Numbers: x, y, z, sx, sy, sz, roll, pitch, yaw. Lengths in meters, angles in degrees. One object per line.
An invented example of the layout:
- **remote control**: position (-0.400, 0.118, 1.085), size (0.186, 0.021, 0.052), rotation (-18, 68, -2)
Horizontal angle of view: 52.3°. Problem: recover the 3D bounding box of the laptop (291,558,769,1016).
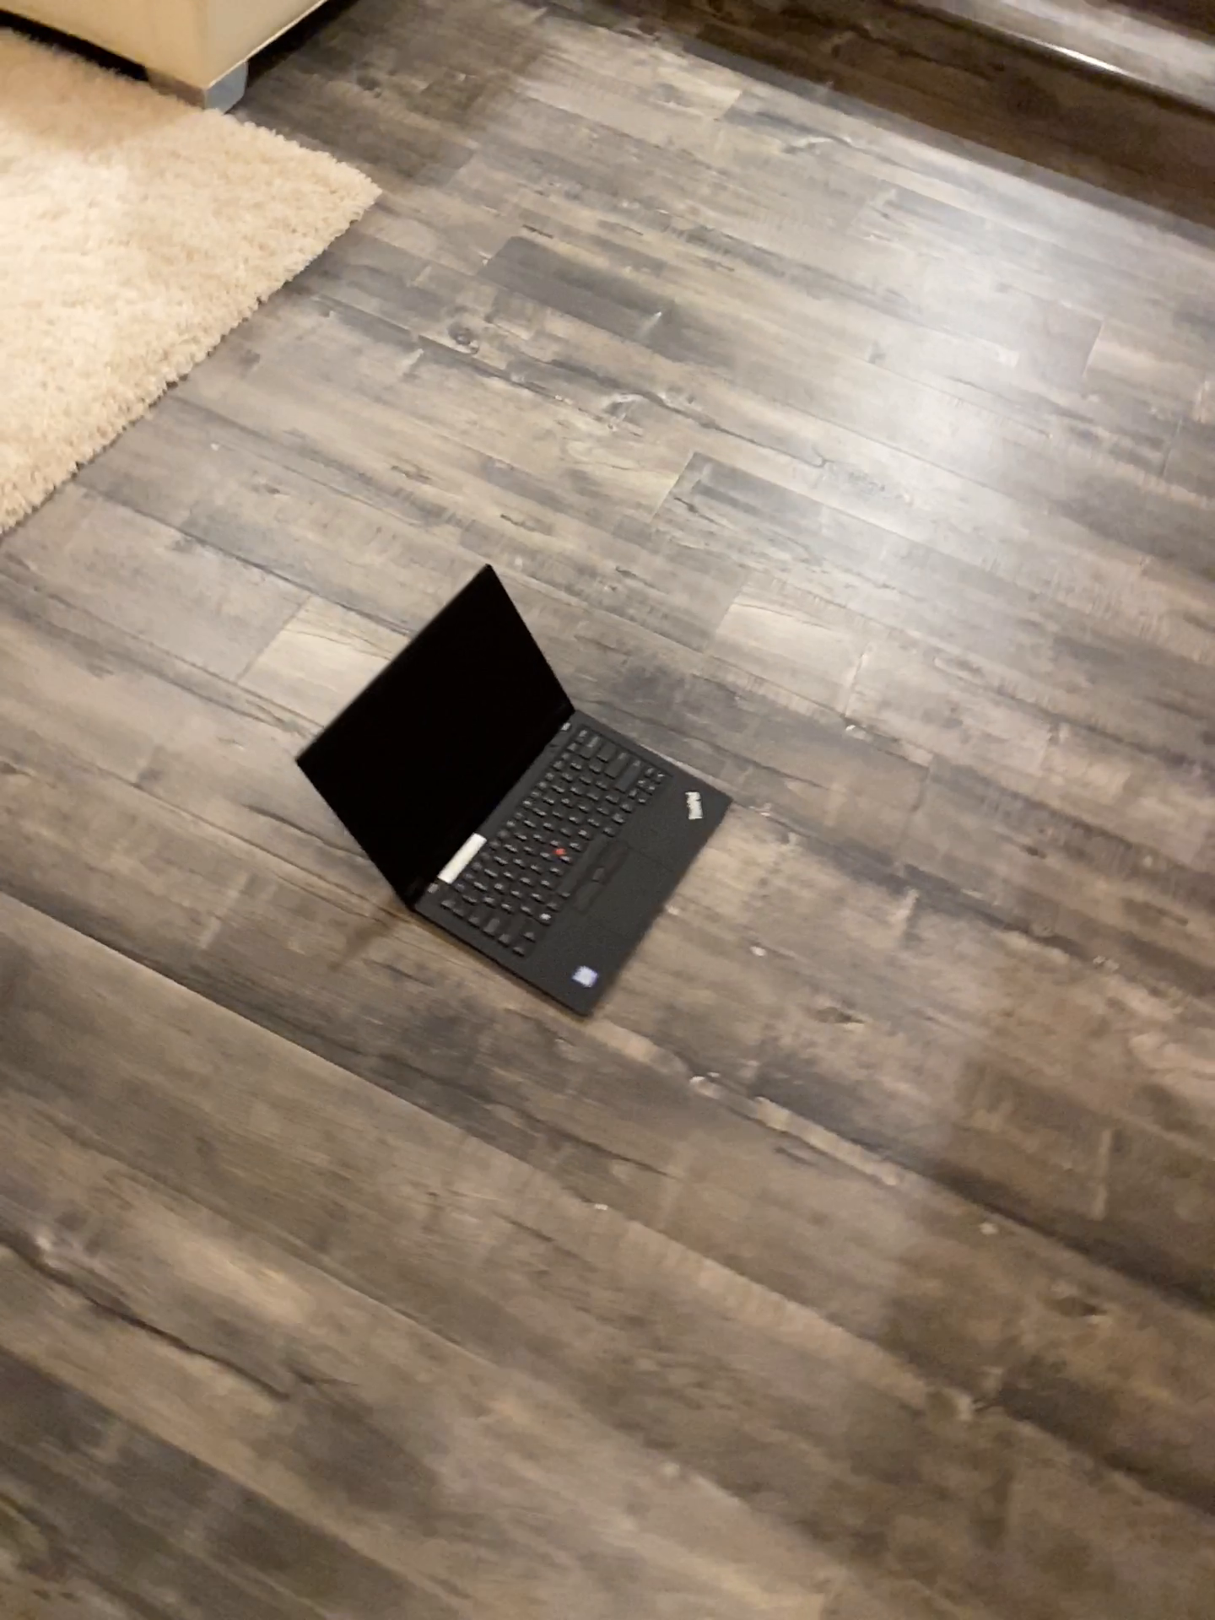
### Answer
- **laptop**: position (-0.075, -0.032, 1.289), size (0.355, 0.149, 0.320), rotation (31, 57, 8)
